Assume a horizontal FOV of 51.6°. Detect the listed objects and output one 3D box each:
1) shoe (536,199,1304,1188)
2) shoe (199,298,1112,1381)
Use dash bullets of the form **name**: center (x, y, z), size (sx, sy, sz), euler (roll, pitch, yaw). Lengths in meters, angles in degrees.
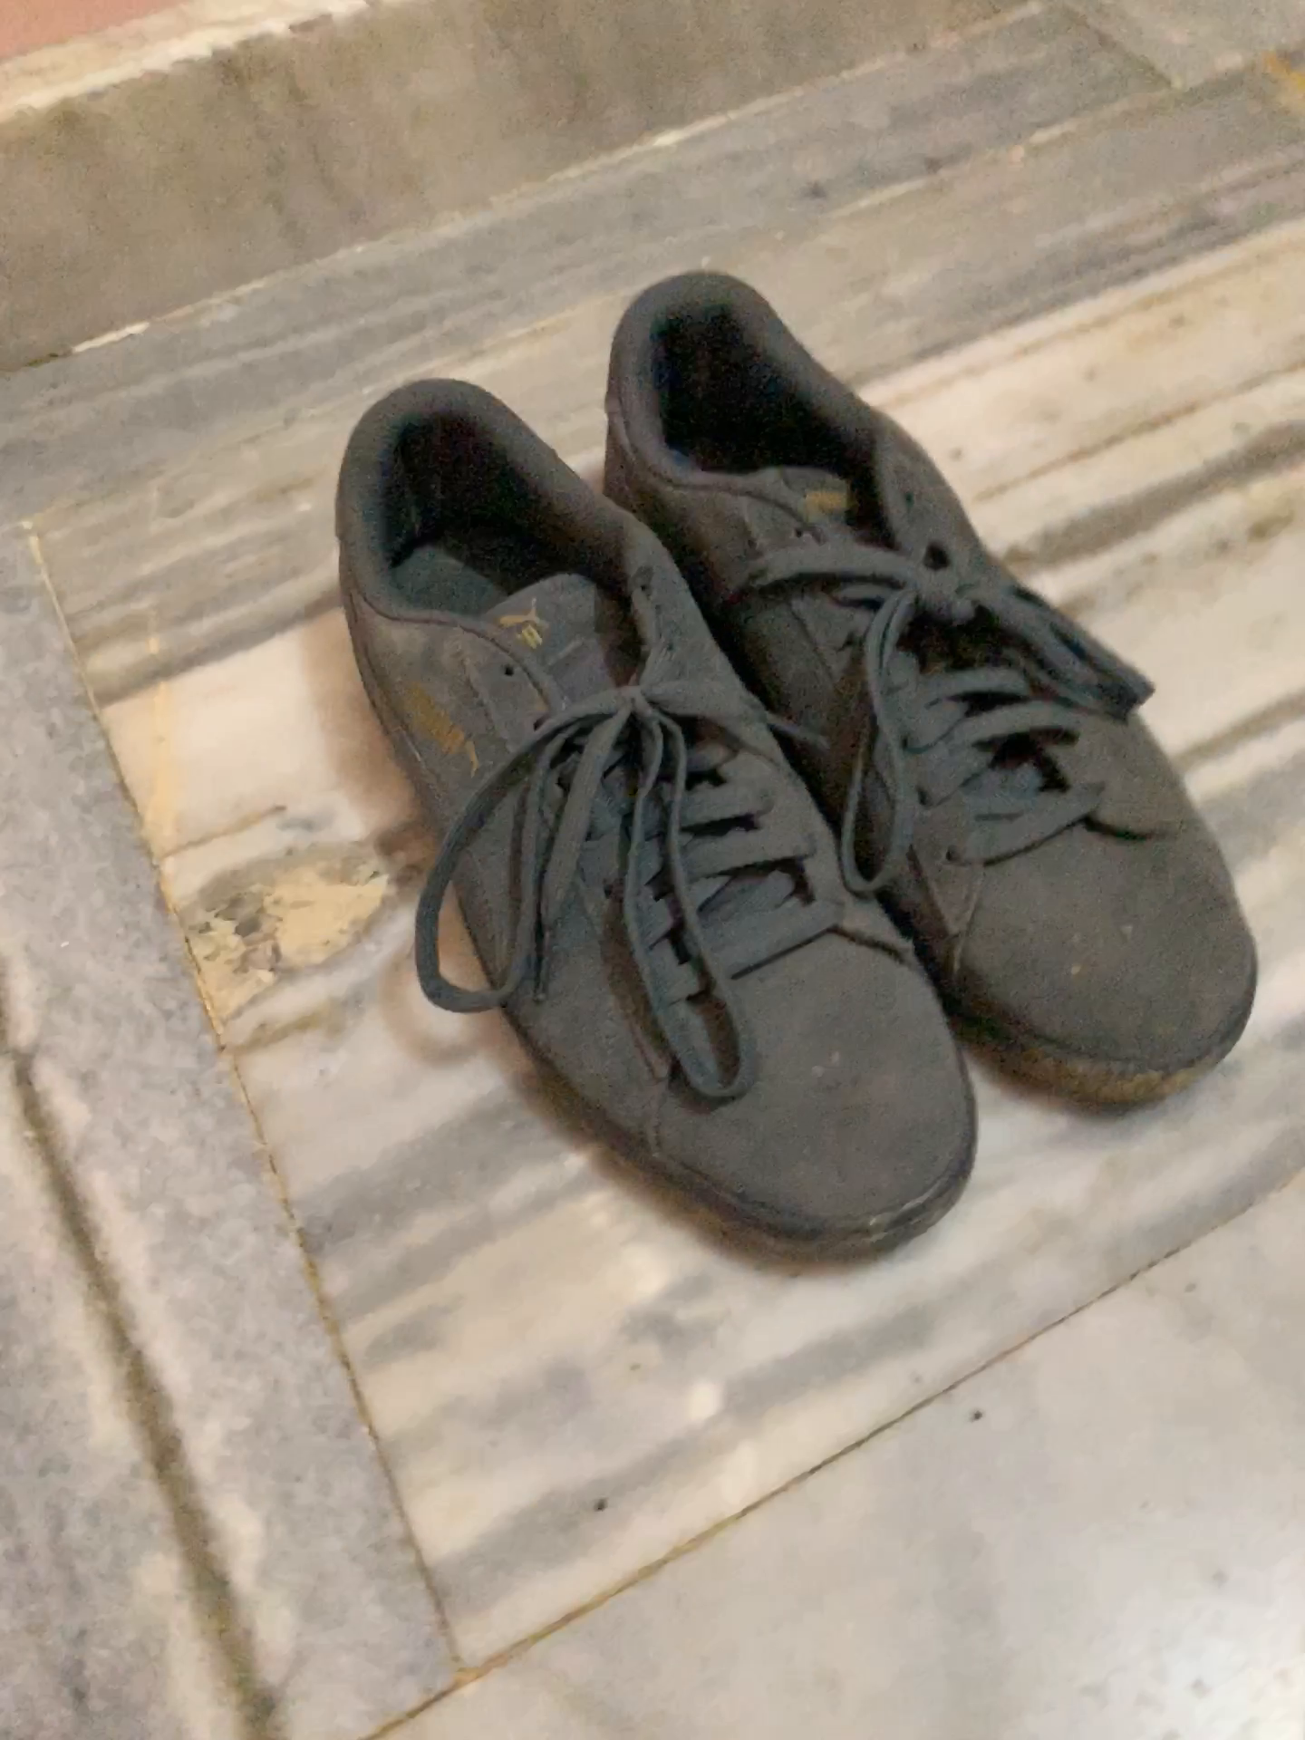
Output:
- **shoe**: center (0.082, -0.069, 0.409), size (0.110, 0.100, 0.290), euler (-26, 59, -12)
- **shoe**: center (-0.017, -0.026, 0.385), size (0.110, 0.100, 0.290), euler (-26, 59, -12)
